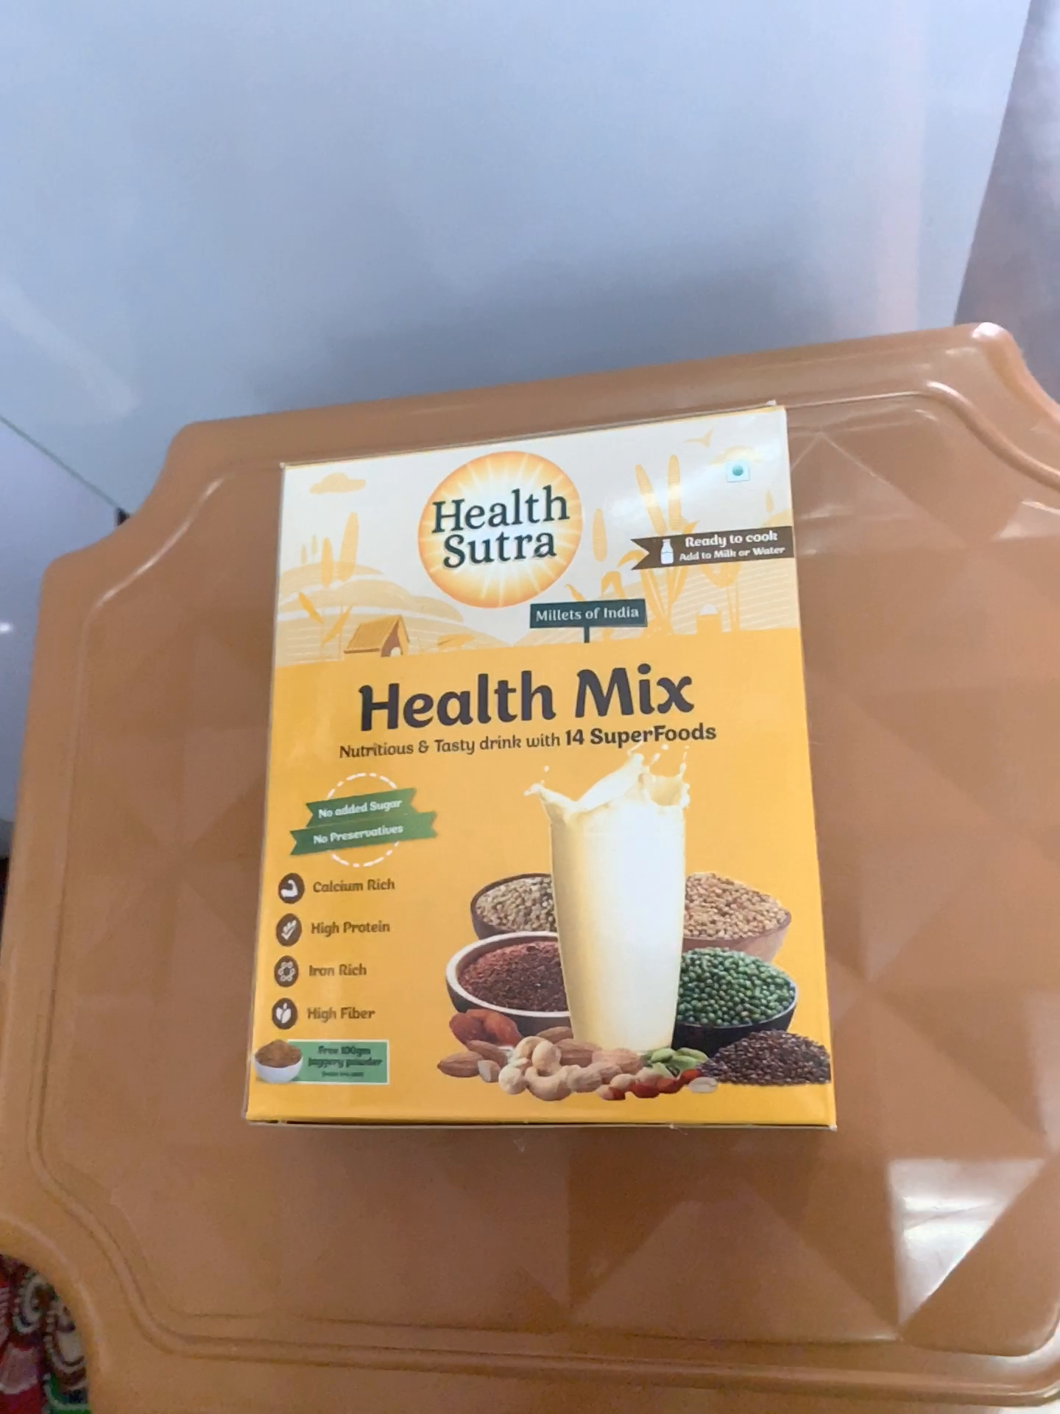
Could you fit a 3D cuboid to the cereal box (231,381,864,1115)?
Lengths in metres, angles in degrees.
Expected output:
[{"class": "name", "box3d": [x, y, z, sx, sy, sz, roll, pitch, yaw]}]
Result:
[{"class": "cereal box", "box3d": [0.003, 0.011, 0.264, 0.130, 0.040, 0.160, -4, 74, 10]}]
